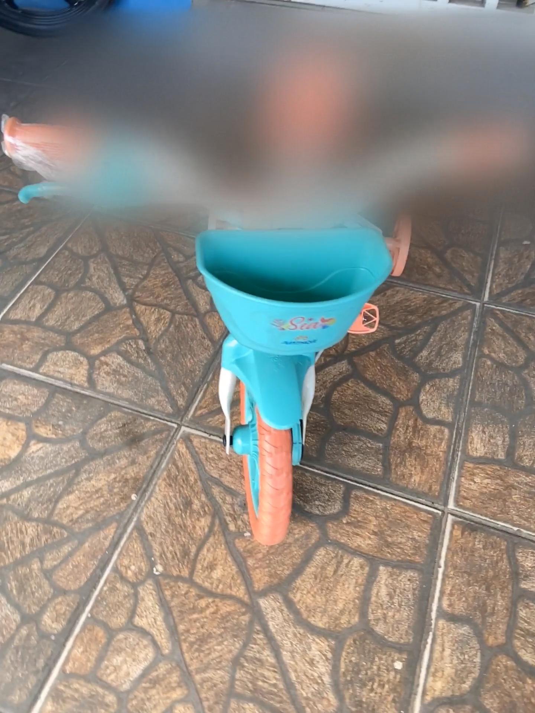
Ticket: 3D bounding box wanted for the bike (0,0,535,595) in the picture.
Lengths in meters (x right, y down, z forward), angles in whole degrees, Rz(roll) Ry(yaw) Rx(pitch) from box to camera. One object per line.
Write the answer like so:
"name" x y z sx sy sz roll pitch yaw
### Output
"bike" 0.072 -0.186 0.813 0.498 0.534 0.810 4 51 5
